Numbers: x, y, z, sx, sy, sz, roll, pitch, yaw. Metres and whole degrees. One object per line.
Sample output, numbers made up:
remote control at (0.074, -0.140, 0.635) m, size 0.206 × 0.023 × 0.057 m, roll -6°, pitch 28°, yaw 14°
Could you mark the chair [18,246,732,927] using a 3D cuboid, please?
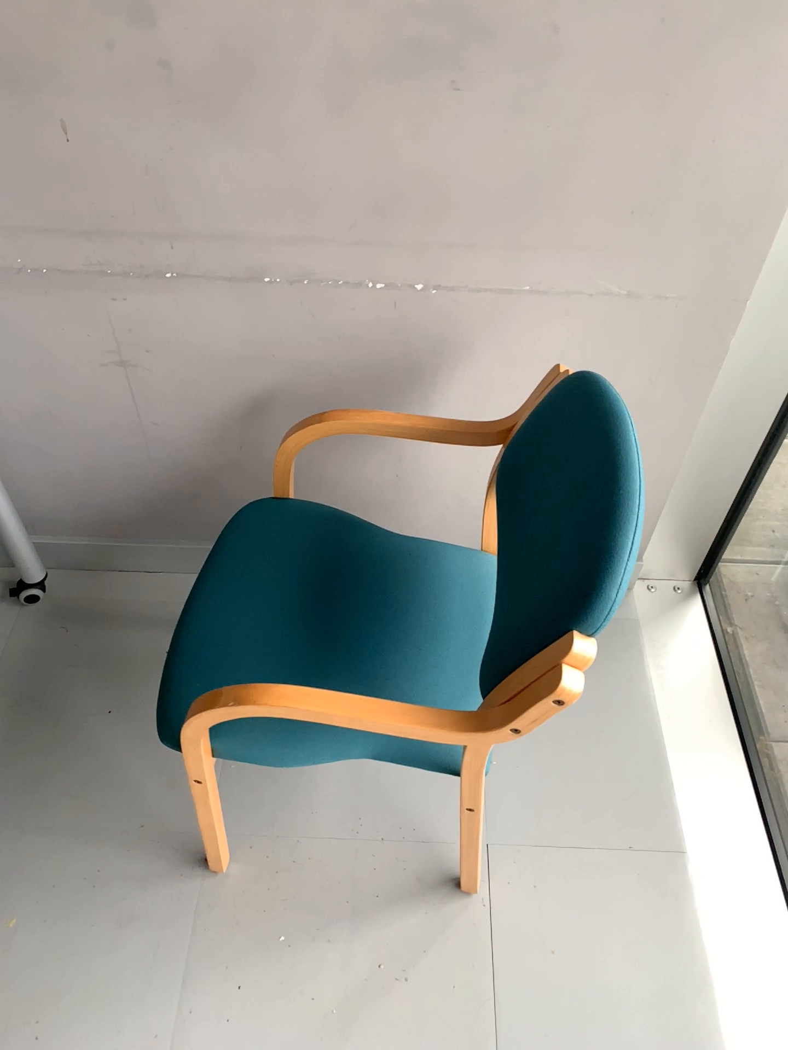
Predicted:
chair at (-0.005, 0.106, 1.212) m, size 0.640 × 0.723 × 0.686 m, roll 4°, pitch 48°, yaw 2°
